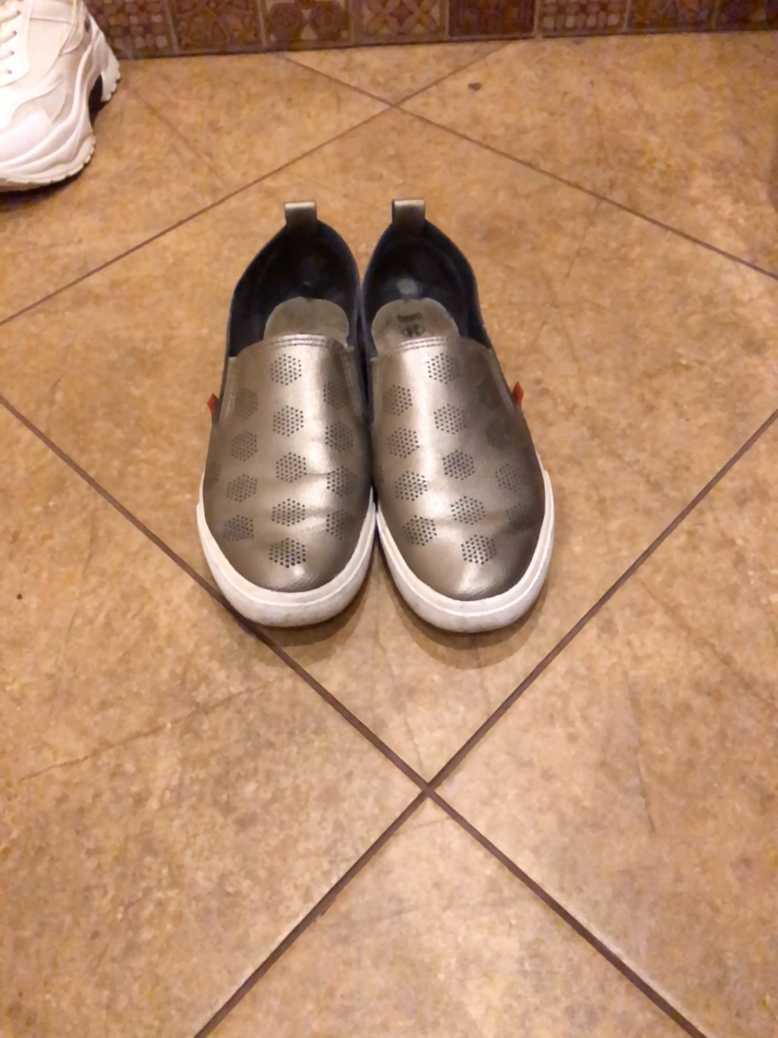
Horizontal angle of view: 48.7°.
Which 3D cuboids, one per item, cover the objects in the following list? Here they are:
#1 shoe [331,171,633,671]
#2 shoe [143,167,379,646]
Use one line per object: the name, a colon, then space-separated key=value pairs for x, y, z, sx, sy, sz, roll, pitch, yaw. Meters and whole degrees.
shoe: x=0.033 y=-0.060 z=0.446 sx=0.100 sy=0.109 sz=0.241 roll=-6 pitch=53 yaw=-3
shoe: x=-0.055 y=-0.070 z=0.456 sx=0.090 sy=0.099 sz=0.251 roll=-2 pitch=53 yaw=0
